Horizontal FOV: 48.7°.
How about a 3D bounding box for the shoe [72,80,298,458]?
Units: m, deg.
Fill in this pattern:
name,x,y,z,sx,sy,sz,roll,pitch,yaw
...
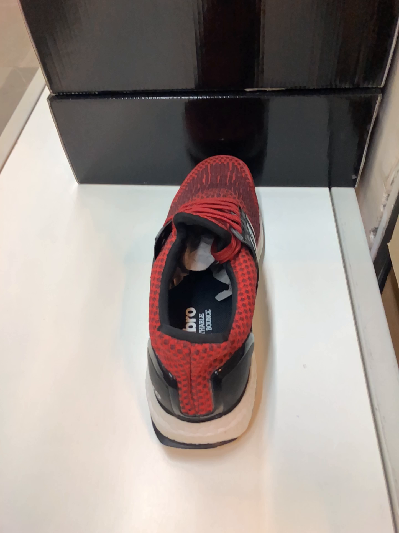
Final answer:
name,x,y,z,sx,sy,sz,roll,pitch,yaw
shoe,0.004,-0.019,0.346,0.111,0.108,0.287,0,51,5
